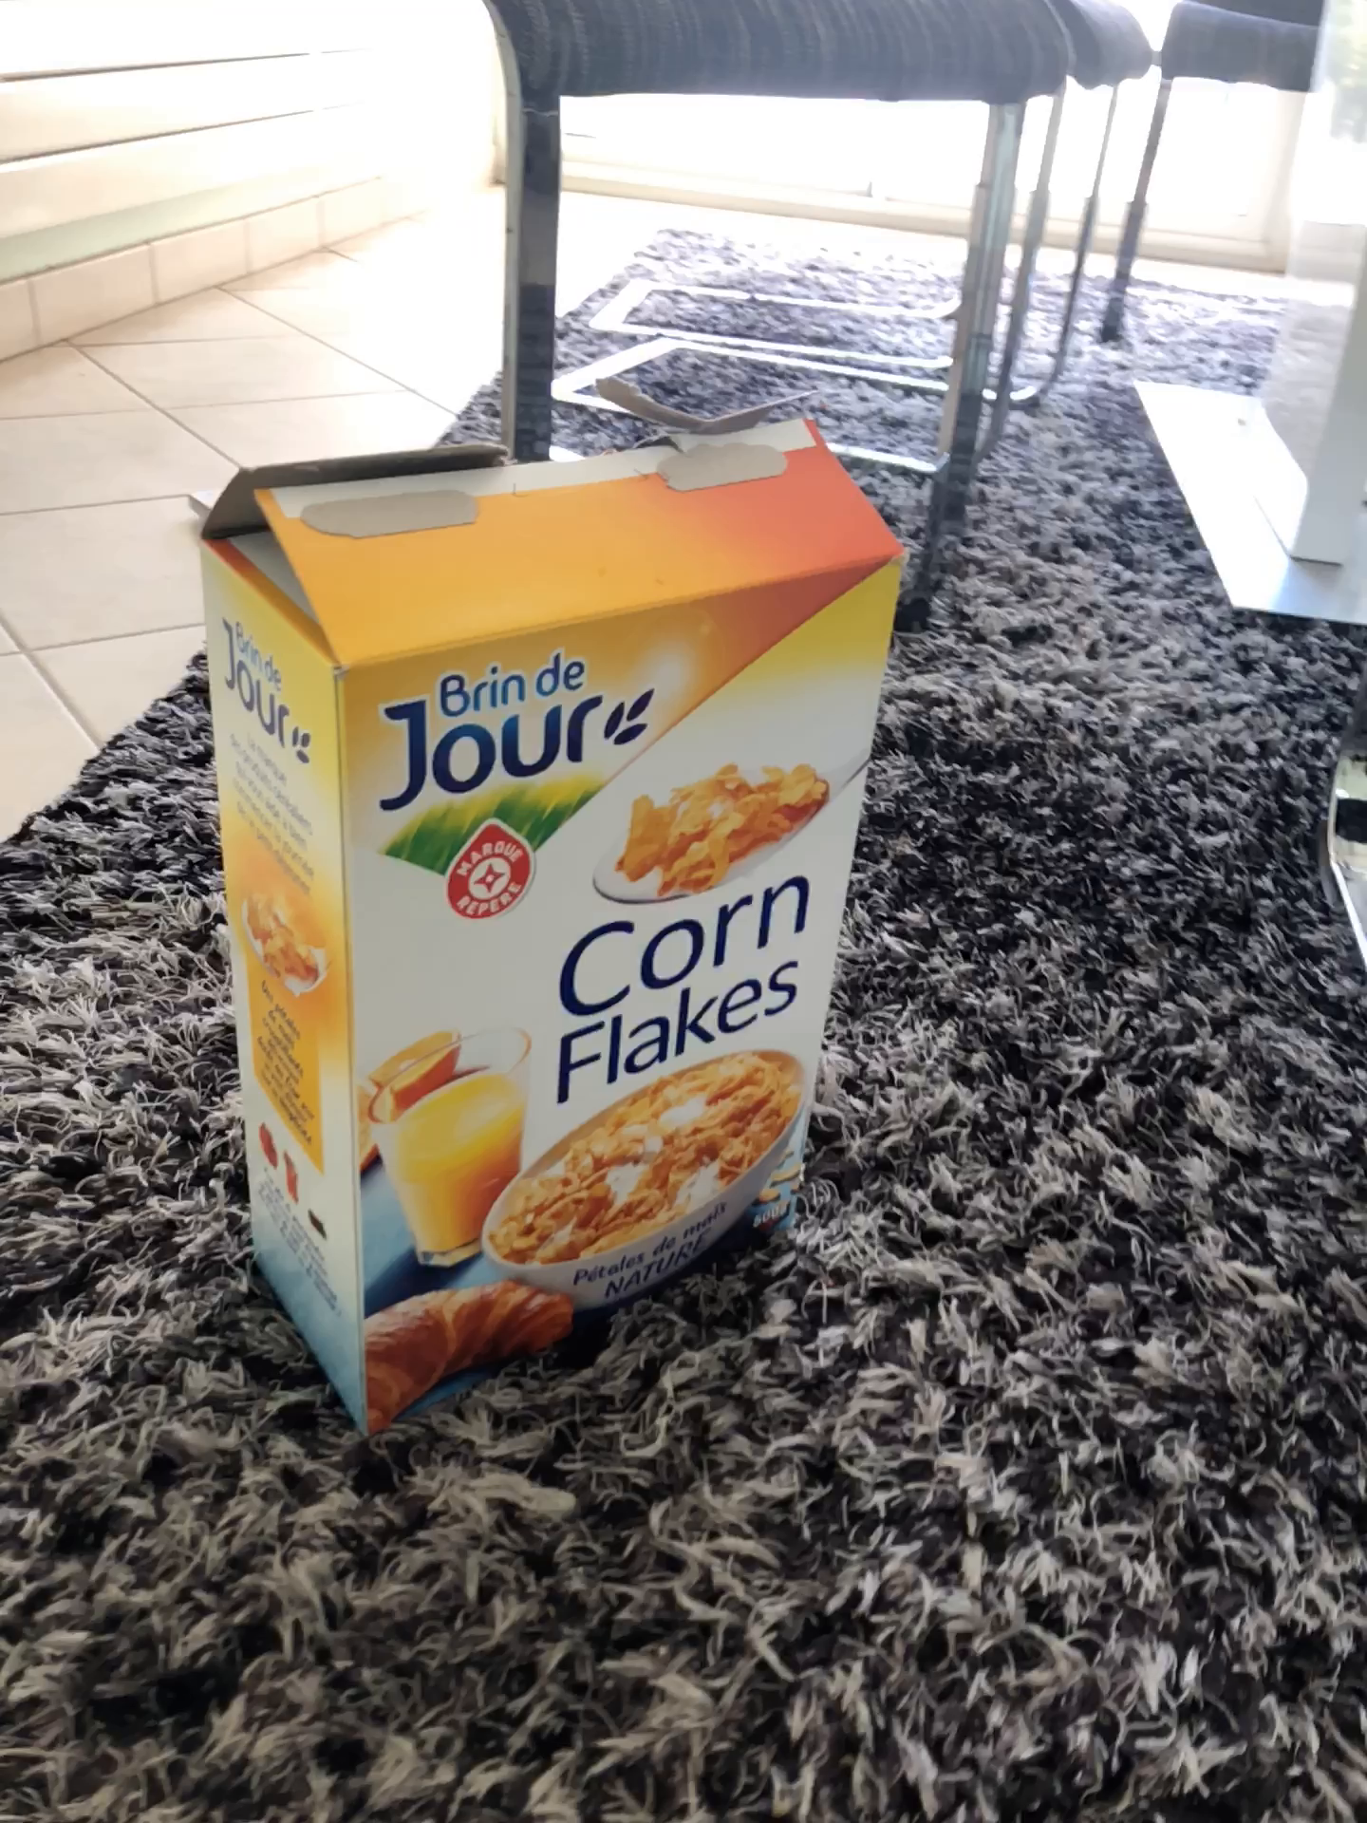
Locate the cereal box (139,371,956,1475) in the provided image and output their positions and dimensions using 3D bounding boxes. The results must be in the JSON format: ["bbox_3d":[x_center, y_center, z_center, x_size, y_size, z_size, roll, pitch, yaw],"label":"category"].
[{"bbox_3d":[-0.044,0.001,0.489,0.201,0.308,0.100,-18,38,-33],"label":"cereal box"}]
